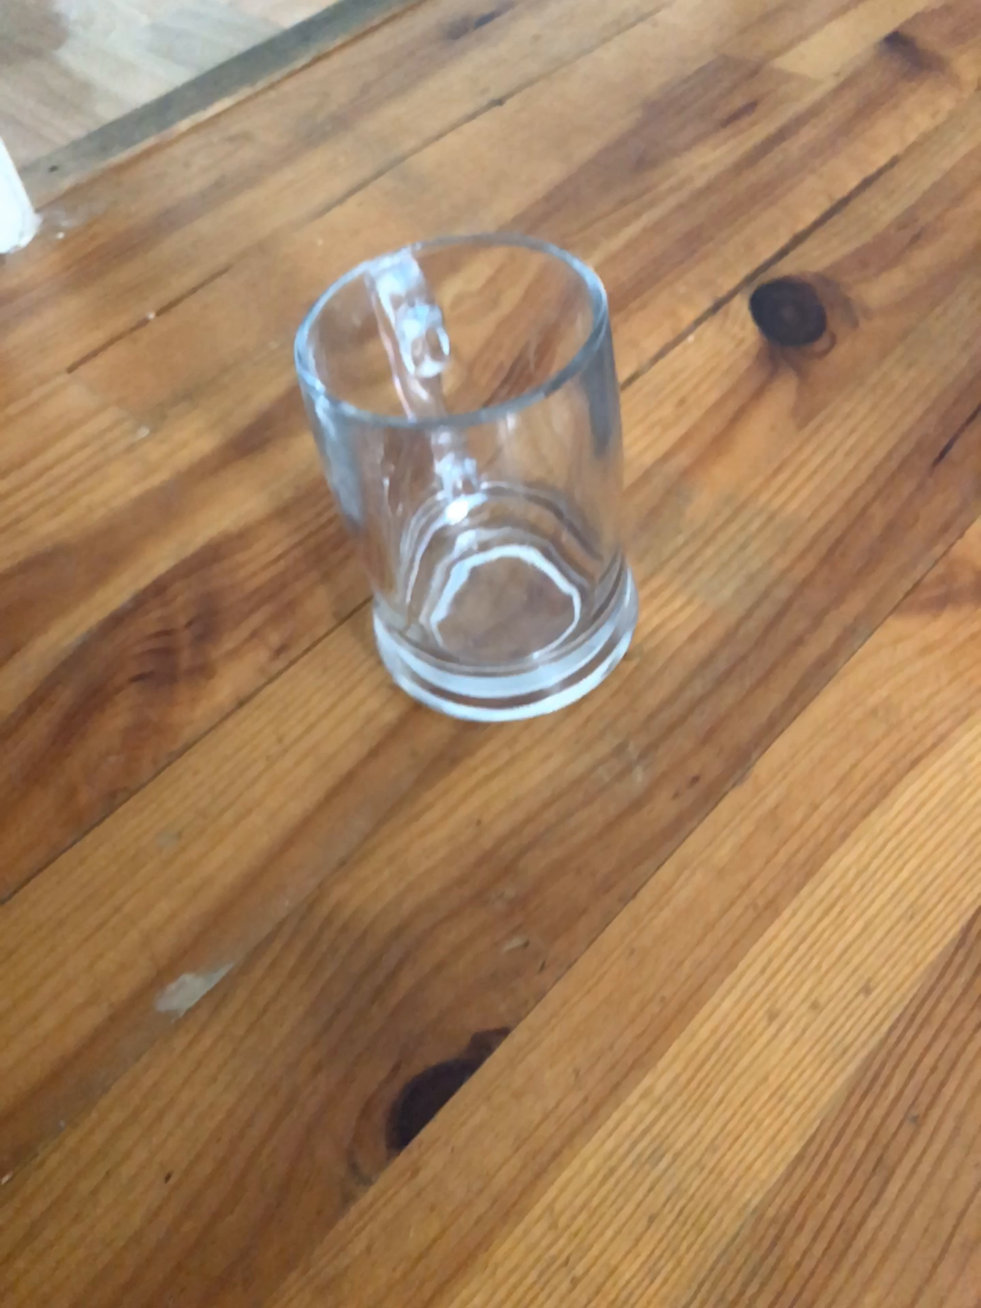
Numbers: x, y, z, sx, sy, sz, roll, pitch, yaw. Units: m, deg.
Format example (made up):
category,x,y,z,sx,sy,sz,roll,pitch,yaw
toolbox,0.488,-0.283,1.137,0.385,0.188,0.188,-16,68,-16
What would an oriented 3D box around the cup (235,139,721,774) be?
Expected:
category,x,y,z,sx,sy,sz,roll,pitch,yaw
cup,-0.005,-0.059,0.322,0.091,0.110,0.129,-18,51,-7
